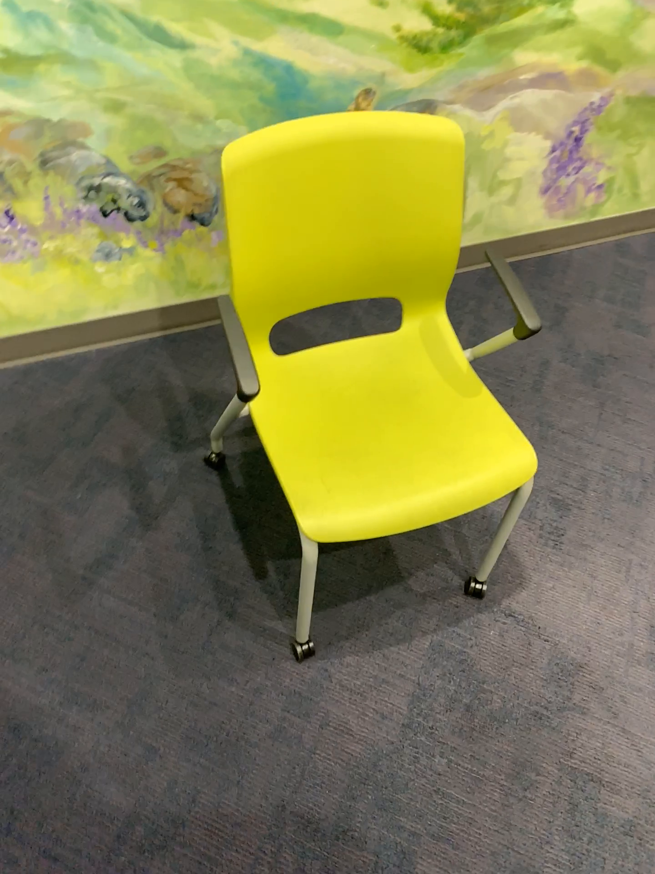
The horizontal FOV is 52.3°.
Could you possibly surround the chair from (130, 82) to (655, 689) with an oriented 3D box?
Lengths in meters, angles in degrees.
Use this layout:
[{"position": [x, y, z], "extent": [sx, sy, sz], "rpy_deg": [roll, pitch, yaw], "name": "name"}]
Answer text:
[{"position": [0.043, -0.095, 1.237], "extent": [0.591, 0.718, 0.742], "rpy_deg": [-12, 55, -15], "name": "chair"}]
